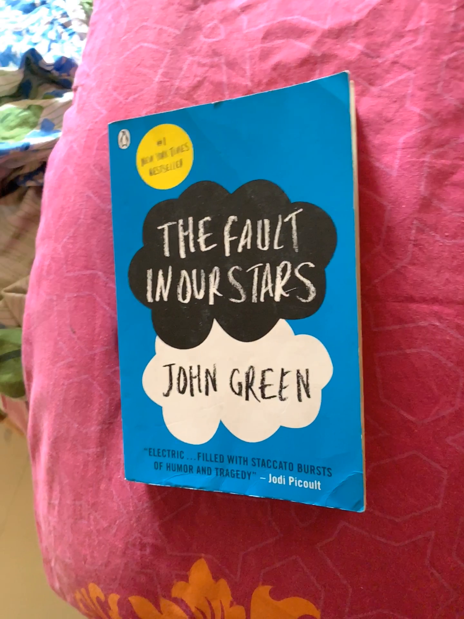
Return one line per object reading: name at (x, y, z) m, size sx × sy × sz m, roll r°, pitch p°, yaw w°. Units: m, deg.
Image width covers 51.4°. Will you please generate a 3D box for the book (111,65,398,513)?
book at (0.007, -0.007, 0.230) m, size 0.130 × 0.030 × 0.179 m, roll -2°, pitch 88°, yaw 22°
